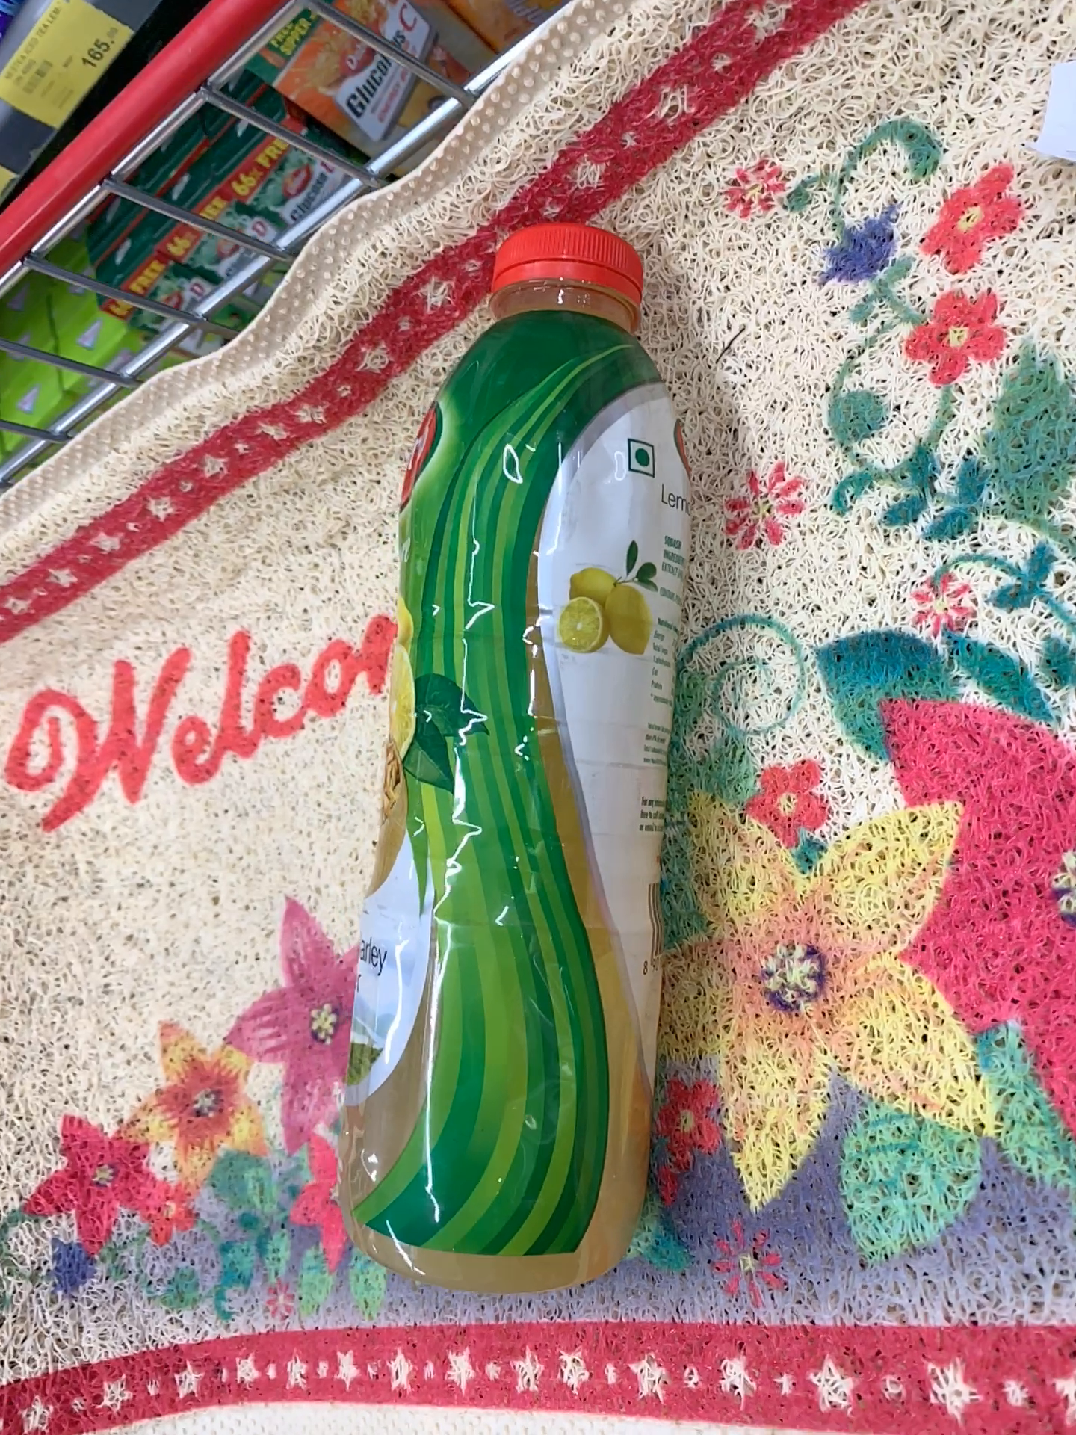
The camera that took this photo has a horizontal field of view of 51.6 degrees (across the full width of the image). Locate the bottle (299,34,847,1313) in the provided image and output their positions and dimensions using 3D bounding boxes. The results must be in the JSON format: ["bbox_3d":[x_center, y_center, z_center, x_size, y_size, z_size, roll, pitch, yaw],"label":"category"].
[{"bbox_3d":[0.005,-0.008,0.282,0.080,0.090,0.270,170,107,-74],"label":"bottle"}]
